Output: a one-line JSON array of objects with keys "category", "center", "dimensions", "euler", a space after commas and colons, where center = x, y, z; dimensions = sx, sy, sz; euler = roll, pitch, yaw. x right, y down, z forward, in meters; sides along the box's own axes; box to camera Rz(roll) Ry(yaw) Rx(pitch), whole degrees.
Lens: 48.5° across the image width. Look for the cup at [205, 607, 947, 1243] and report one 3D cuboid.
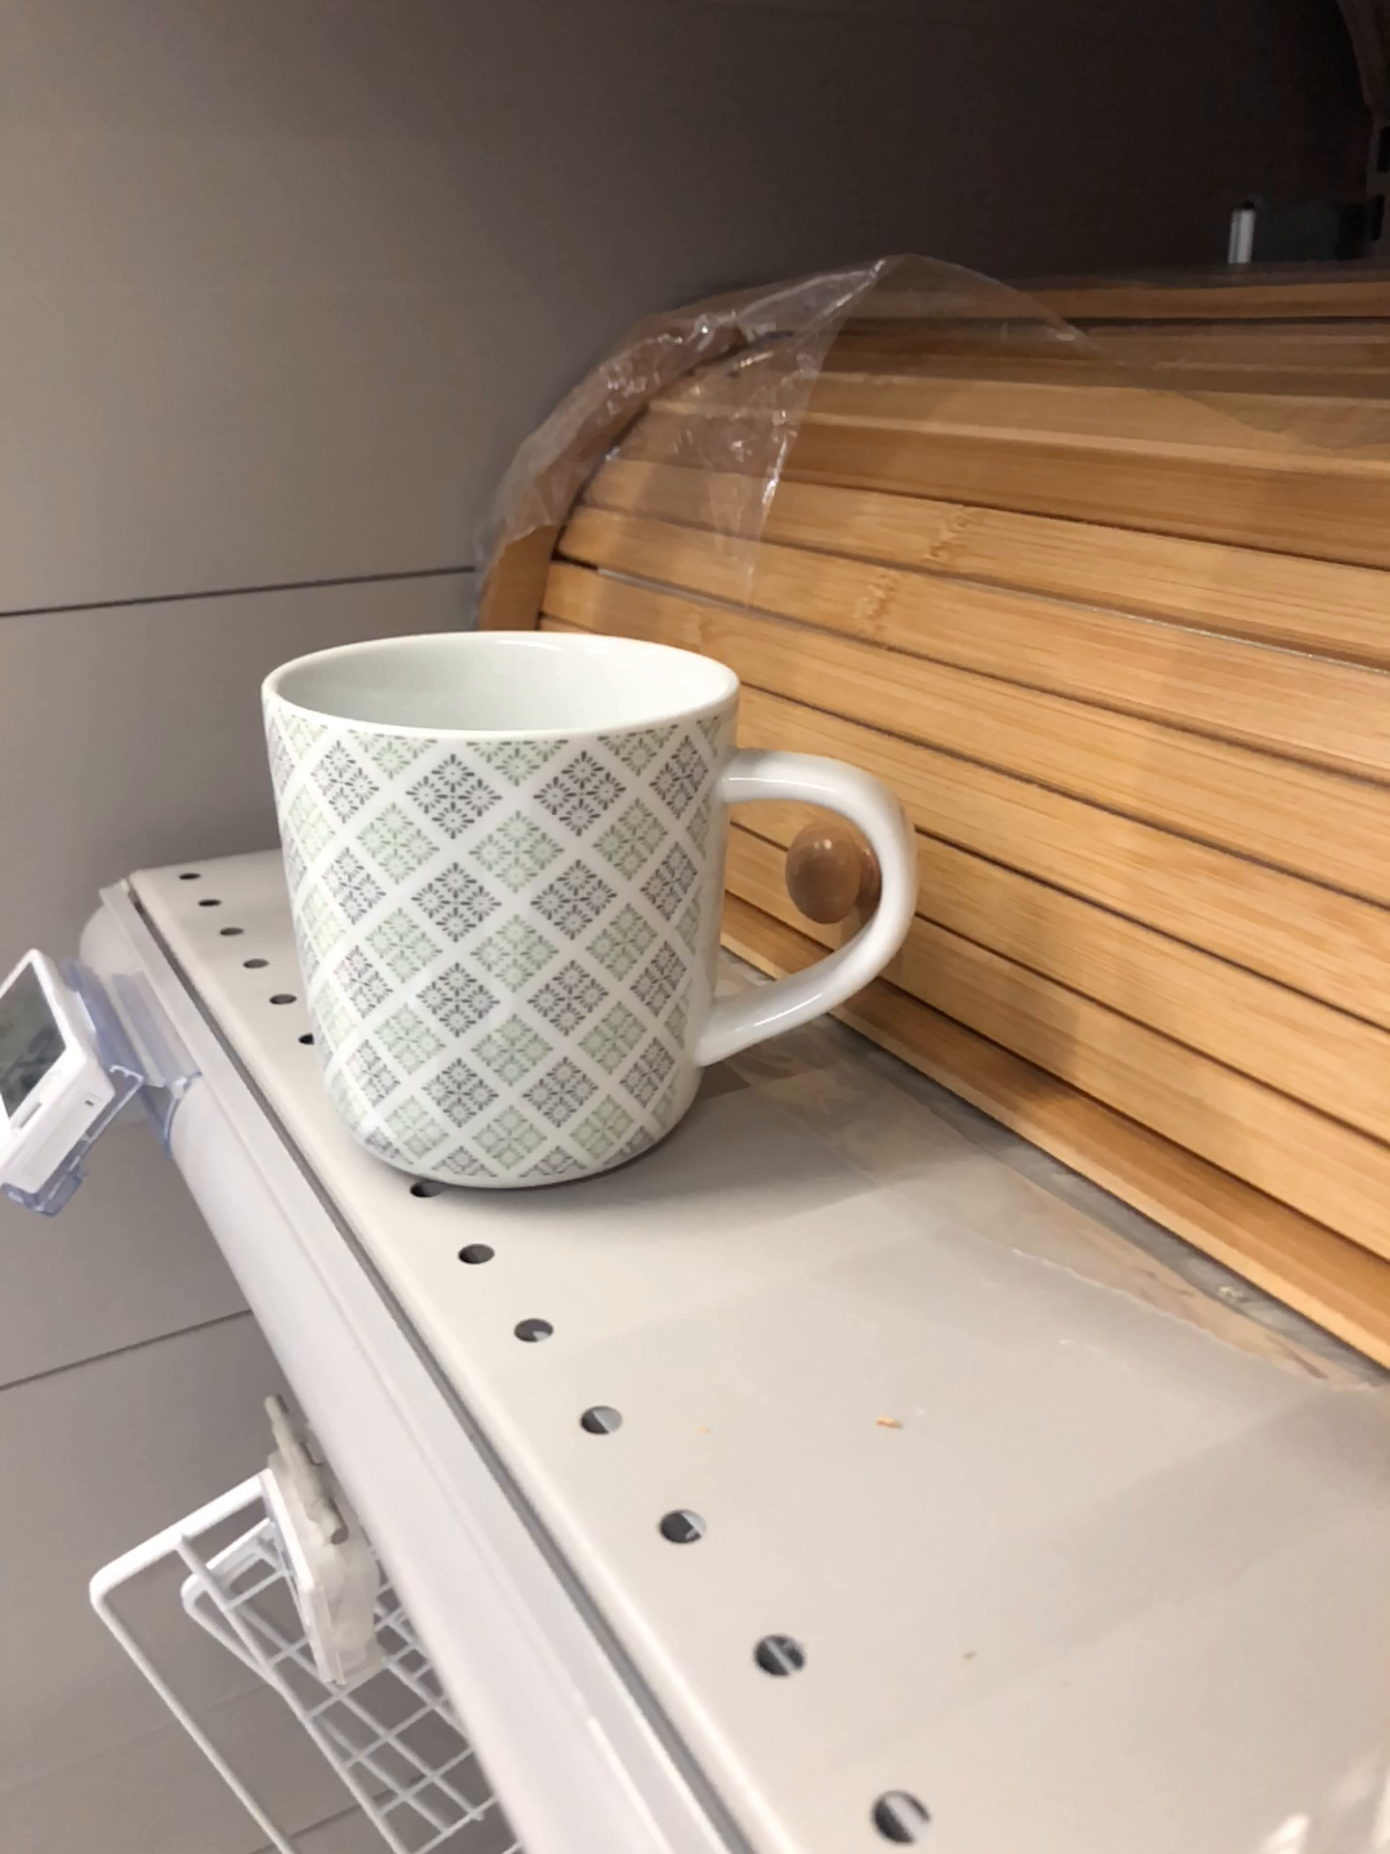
[{"category": "cup", "center": [-0.014, -0.007, 0.297], "dimensions": [0.118, 0.090, 0.086], "euler": [4, 22, 8]}]
